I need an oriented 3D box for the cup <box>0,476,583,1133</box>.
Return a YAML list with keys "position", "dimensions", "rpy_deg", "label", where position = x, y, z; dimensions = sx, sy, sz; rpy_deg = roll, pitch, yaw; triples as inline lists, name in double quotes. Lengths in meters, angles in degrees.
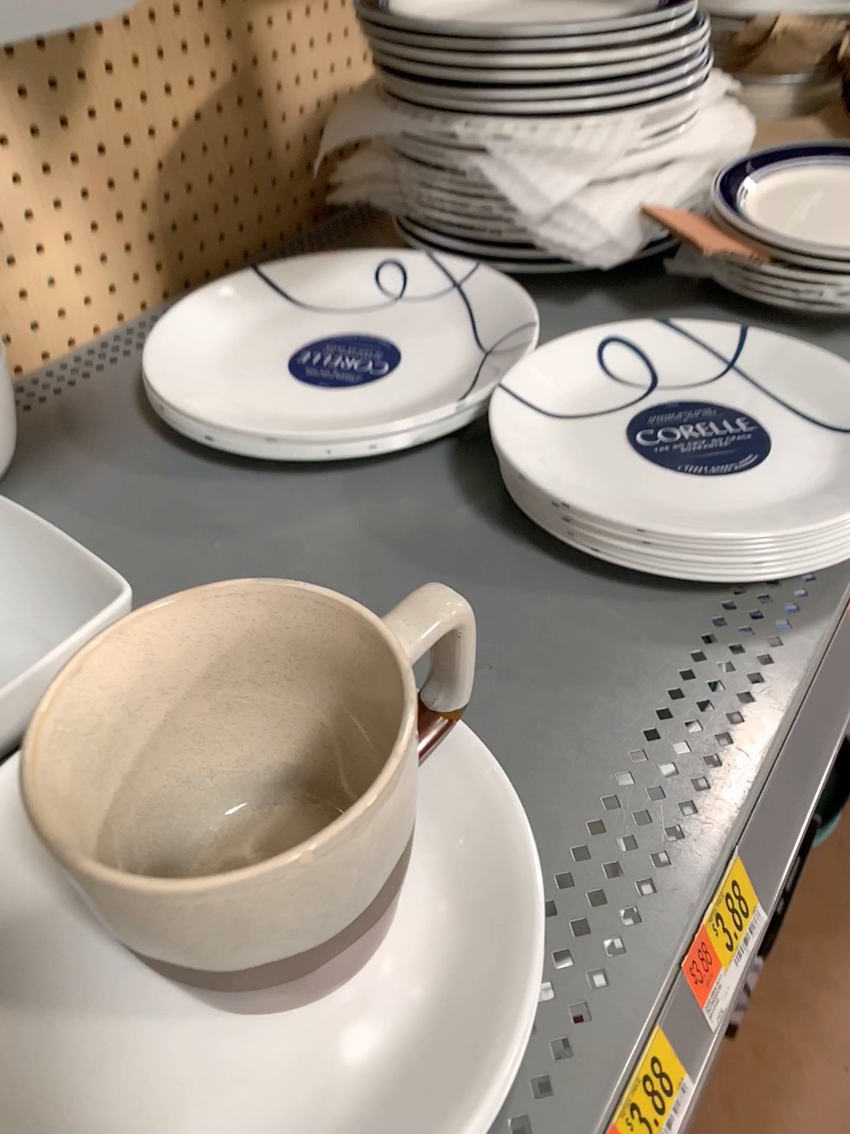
- position: [-0.038, 0.063, 0.260]
  dimensions: [0.107, 0.095, 0.138]
  rpy_deg: [24, 48, 29]
  label: "cup"
